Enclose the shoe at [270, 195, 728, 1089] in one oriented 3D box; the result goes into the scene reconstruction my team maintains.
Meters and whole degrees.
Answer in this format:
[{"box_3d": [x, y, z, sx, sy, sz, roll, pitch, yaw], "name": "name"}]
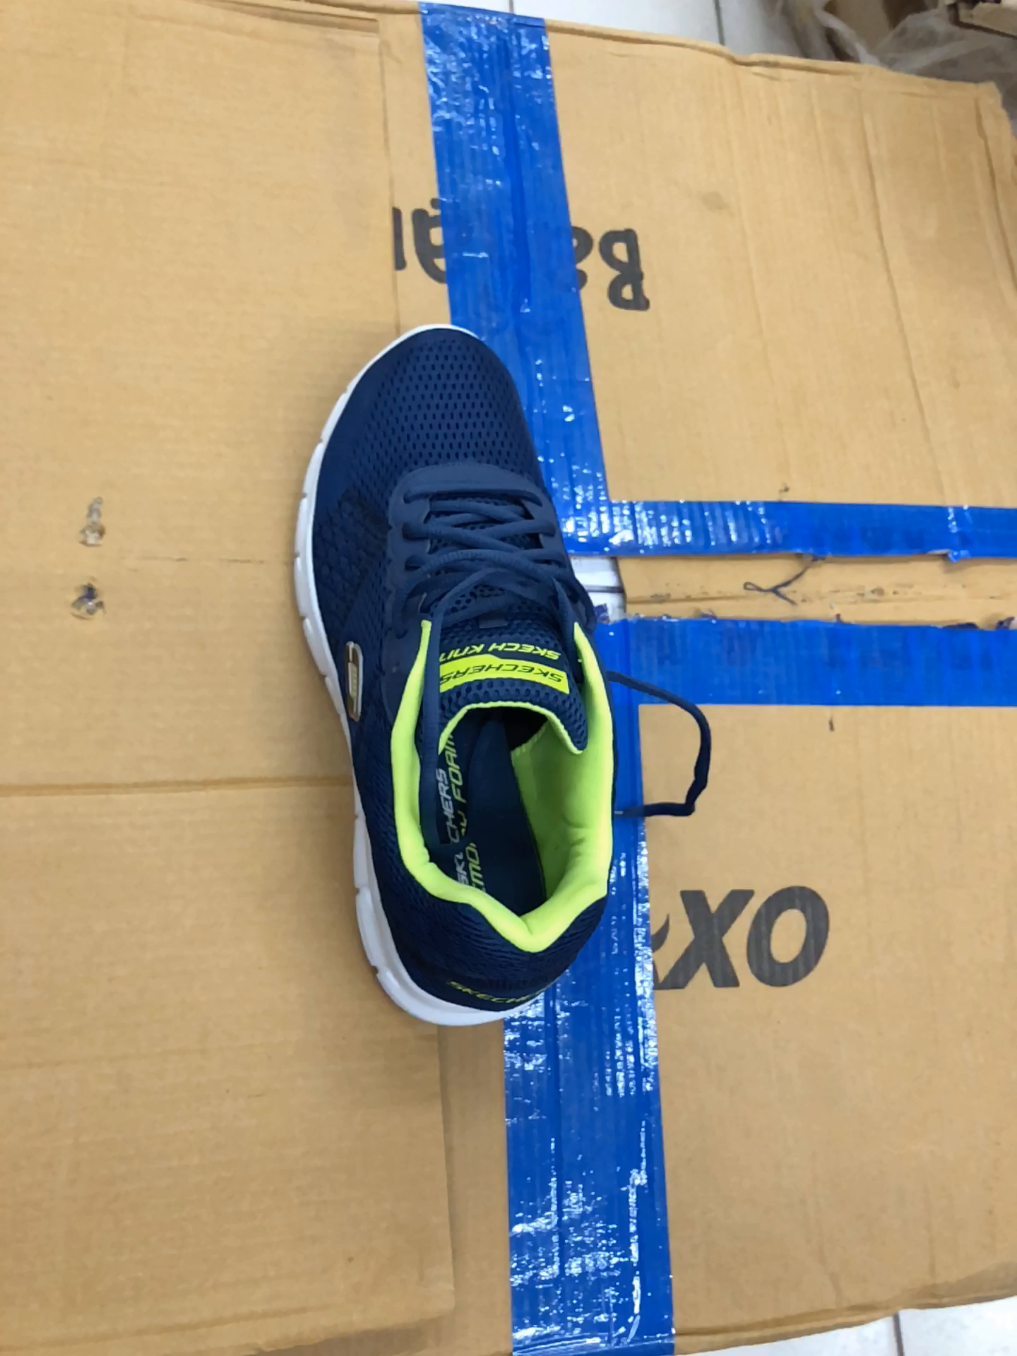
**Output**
[{"box_3d": [-0.020, -0.012, 0.427, 0.110, 0.130, 0.290, -4, 77, -15], "name": "shoe"}]
